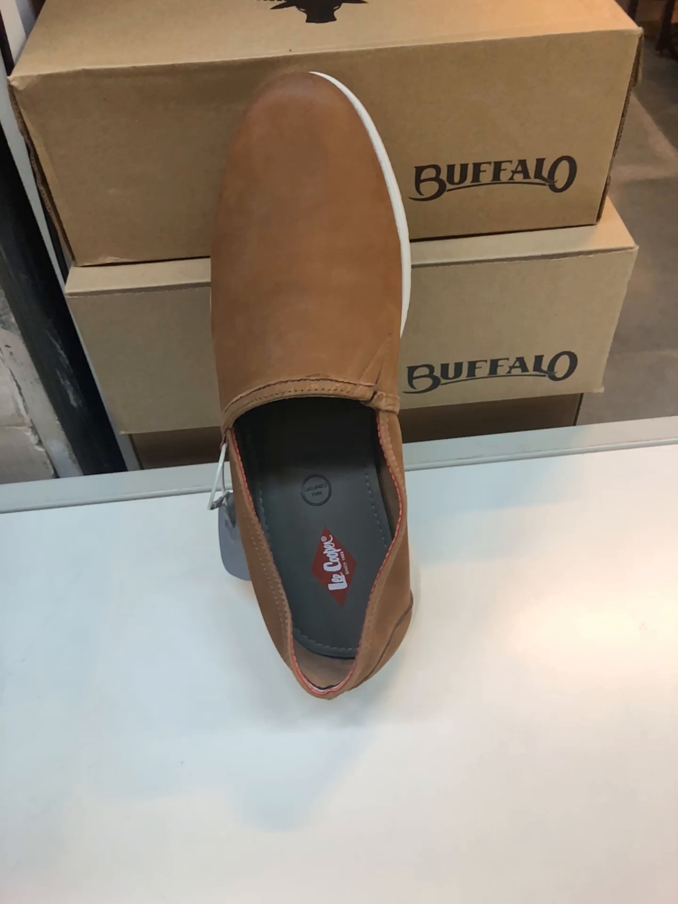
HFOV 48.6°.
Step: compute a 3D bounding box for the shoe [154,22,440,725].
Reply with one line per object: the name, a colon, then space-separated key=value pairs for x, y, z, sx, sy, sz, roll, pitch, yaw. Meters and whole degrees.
shoe: x=-0.009 y=-0.034 z=0.414 sx=0.113 sy=0.311 sz=0.149 roll=-3 pitch=3 yaw=8
